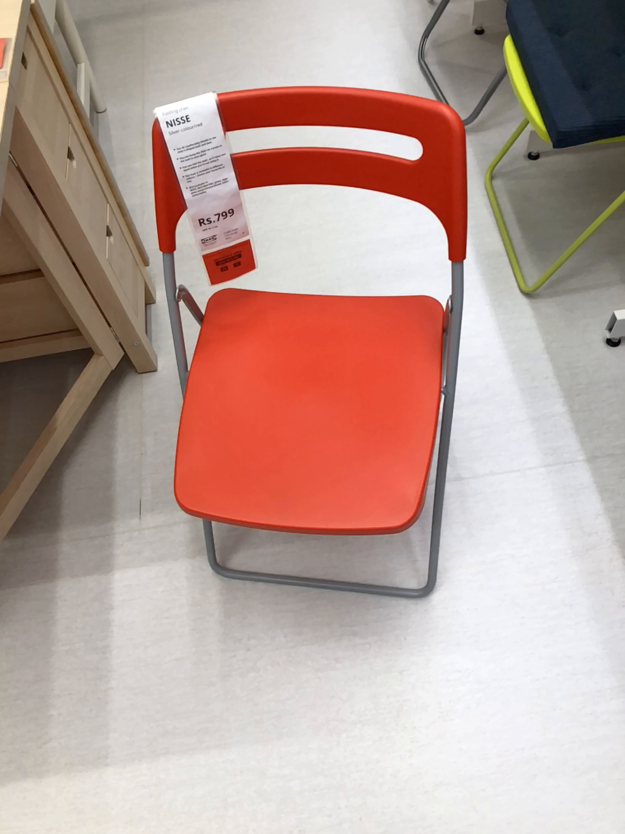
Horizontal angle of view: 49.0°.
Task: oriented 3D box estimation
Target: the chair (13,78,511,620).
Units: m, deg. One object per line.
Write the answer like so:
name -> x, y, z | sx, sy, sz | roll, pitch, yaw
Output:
chair -> 0.001, -0.051, 0.988 | 0.450, 0.607, 0.492 | 3, 60, 8
